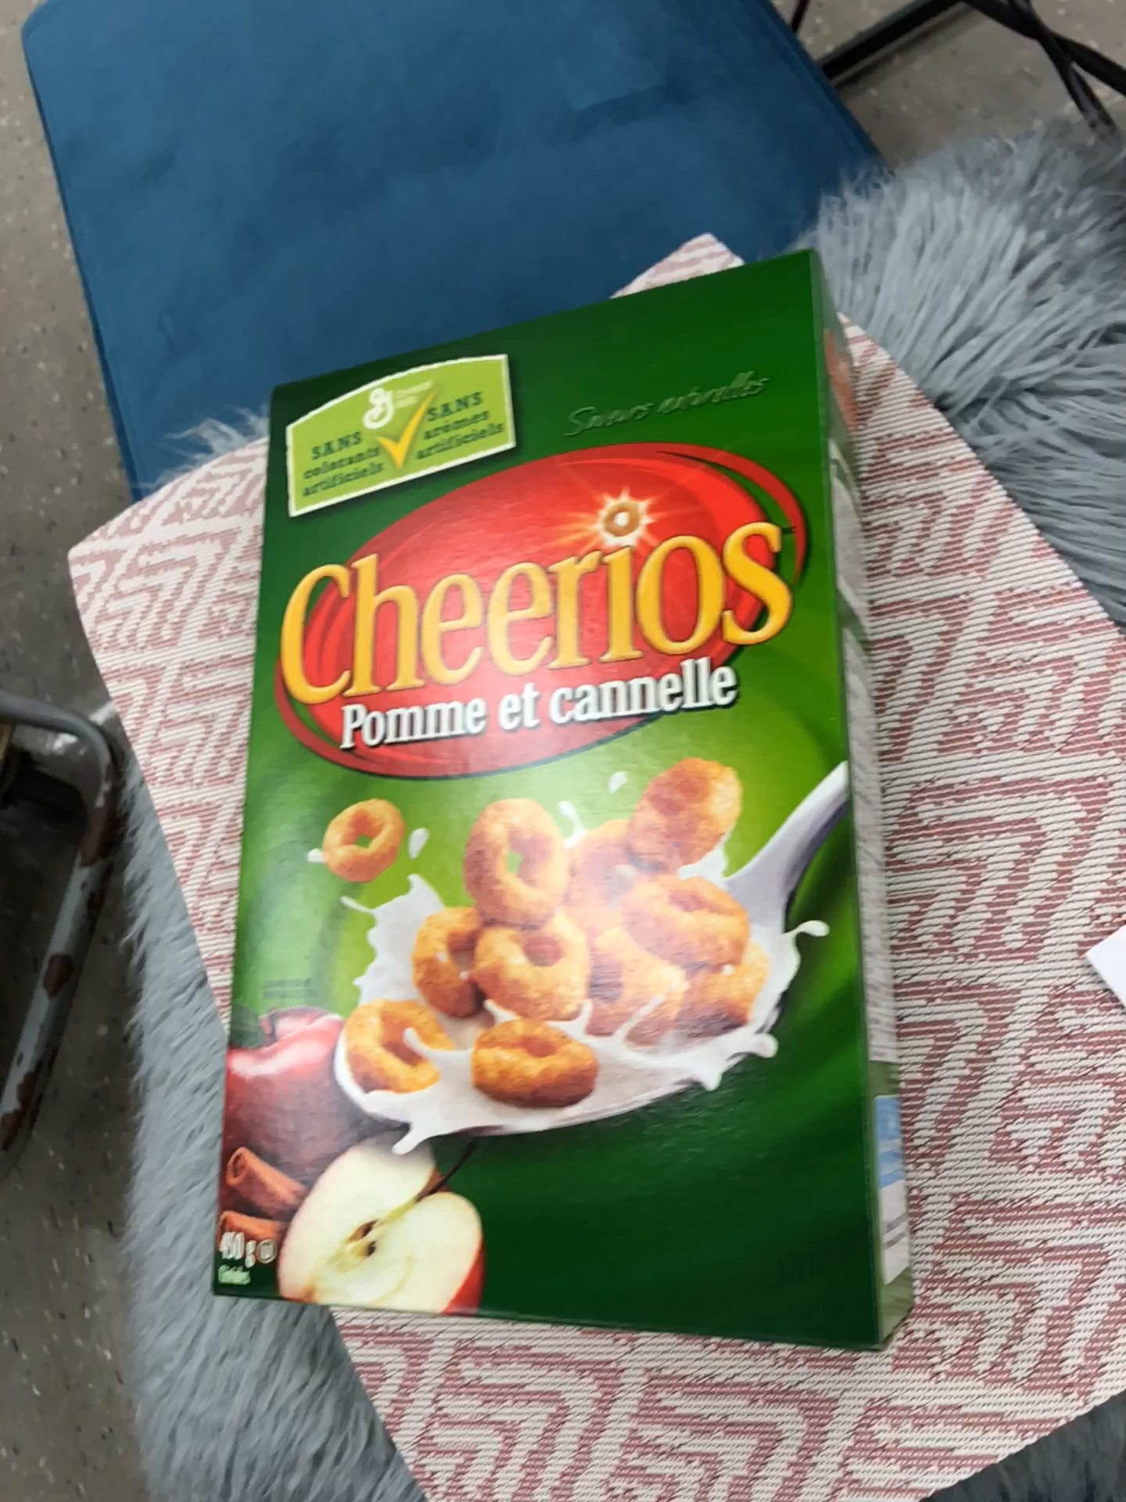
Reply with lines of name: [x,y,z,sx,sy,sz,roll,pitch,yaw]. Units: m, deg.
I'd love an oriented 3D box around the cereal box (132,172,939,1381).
cereal box: [-0.012,0.007,0.381,0.210,0.070,0.310,-6,76,19]
